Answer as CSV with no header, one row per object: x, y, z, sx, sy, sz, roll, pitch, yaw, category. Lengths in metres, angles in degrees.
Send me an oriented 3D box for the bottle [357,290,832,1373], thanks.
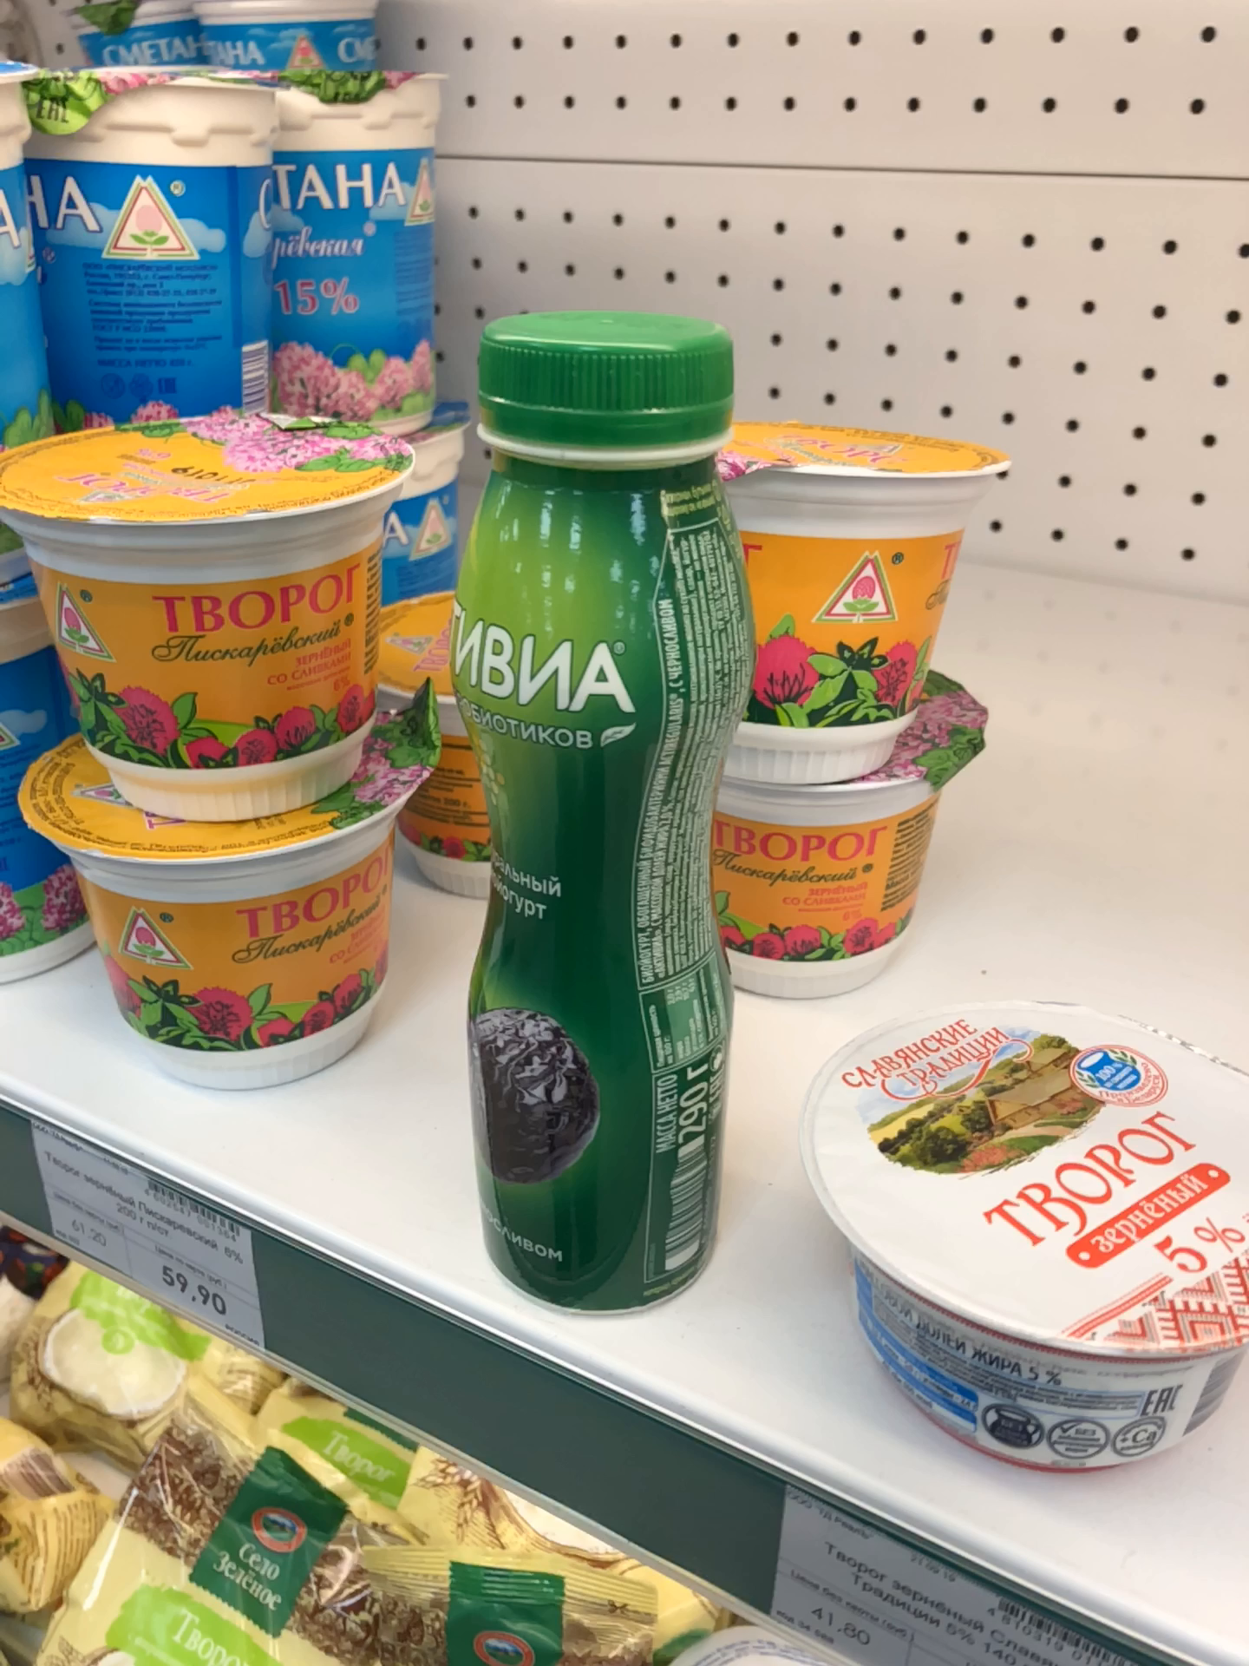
-0.005,0.005,0.252,0.054,0.185,0.050,0,28,0,bottle
